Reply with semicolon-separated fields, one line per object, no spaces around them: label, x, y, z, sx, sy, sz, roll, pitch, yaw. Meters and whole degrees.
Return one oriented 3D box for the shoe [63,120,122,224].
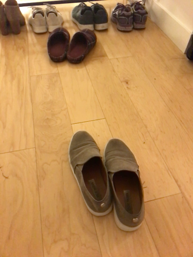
shoe;-0.022;0.104;0.585;0.100;0.070;0.272;-9;50;-10

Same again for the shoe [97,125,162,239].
shoe;0.072;0.128;0.579;0.110;0.079;0.292;-3;49;-5
